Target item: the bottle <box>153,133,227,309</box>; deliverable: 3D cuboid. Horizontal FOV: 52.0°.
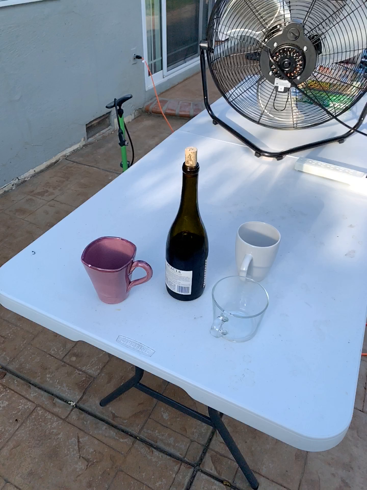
[{"bbox_3d":[0.008,-0.032,0.707,0.087,0.318,0.087,1,38,0],"label":"bottle"}]
